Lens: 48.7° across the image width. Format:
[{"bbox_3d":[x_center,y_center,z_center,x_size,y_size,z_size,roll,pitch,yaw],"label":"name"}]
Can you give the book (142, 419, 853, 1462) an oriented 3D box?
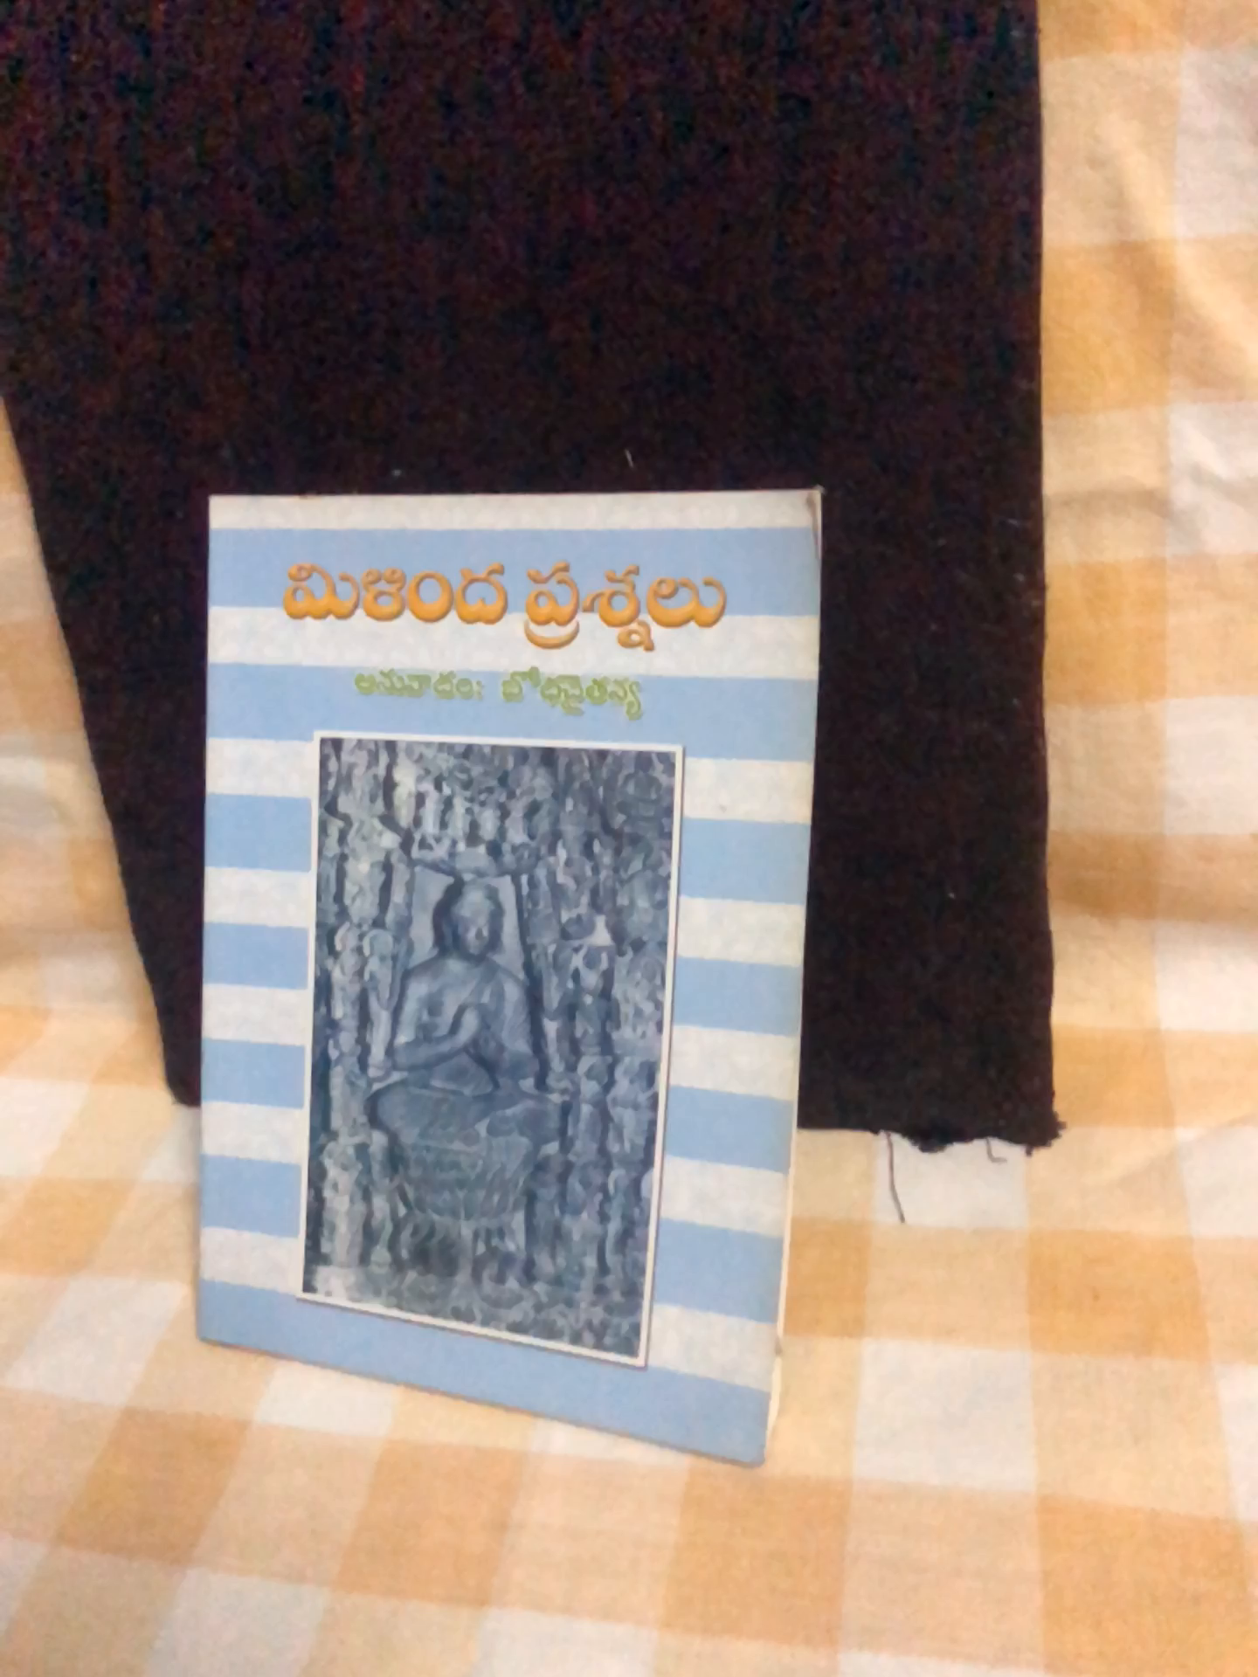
[{"bbox_3d":[-0.035,0.017,0.320,0.160,0.210,0.030,3,3,21],"label":"book"}]
